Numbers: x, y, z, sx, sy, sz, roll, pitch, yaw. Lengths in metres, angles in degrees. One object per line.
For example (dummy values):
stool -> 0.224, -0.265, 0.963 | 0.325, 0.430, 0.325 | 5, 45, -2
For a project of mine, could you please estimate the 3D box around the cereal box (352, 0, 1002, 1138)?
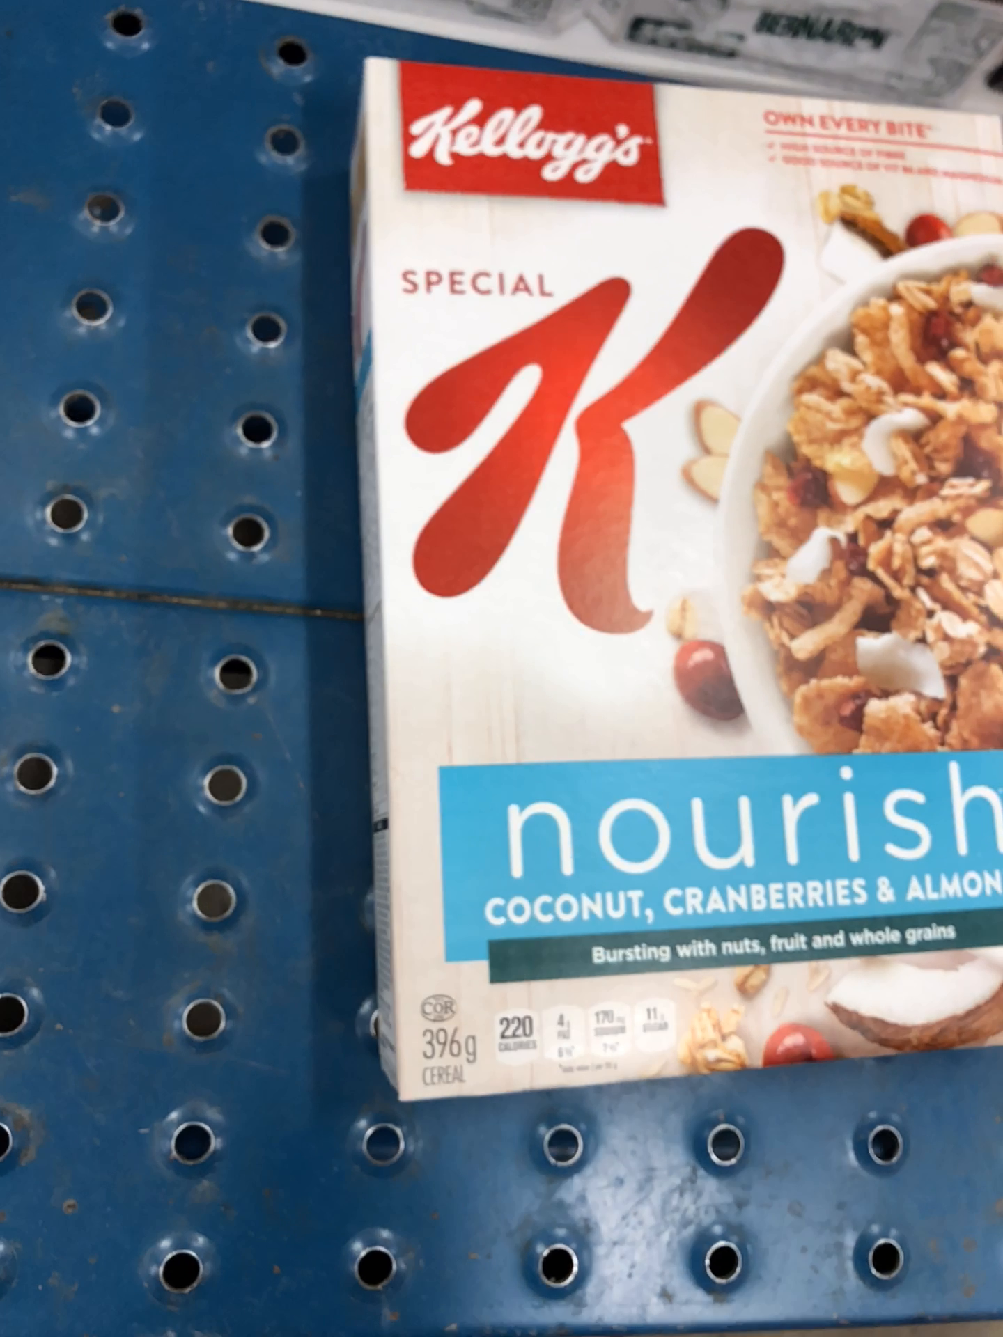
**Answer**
cereal box -> 0.071, -0.038, 0.316 | 0.210, 0.050, 0.290 | -2, 81, -12
